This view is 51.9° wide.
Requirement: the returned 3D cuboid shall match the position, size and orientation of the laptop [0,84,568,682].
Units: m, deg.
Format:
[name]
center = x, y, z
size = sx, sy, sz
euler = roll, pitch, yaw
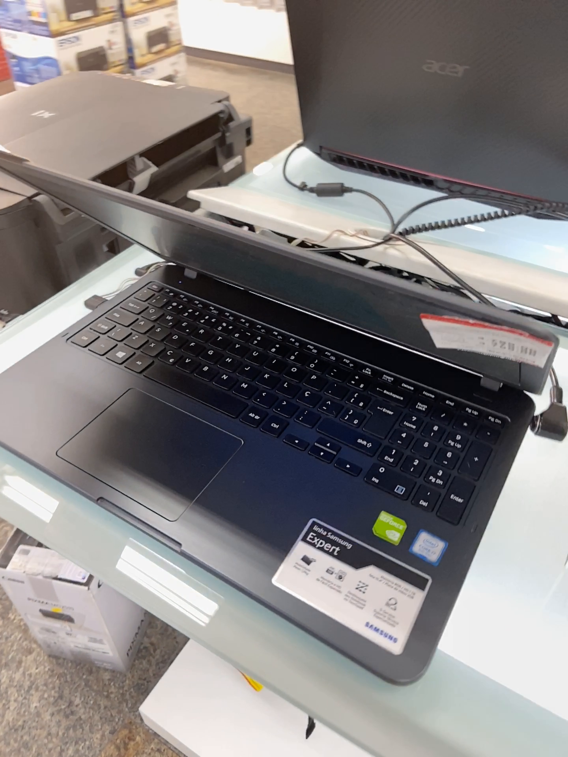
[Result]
[laptop]
center = -0.031, -0.044, 0.389
size = 0.372, 0.170, 0.238
euler = 23, 47, 24
